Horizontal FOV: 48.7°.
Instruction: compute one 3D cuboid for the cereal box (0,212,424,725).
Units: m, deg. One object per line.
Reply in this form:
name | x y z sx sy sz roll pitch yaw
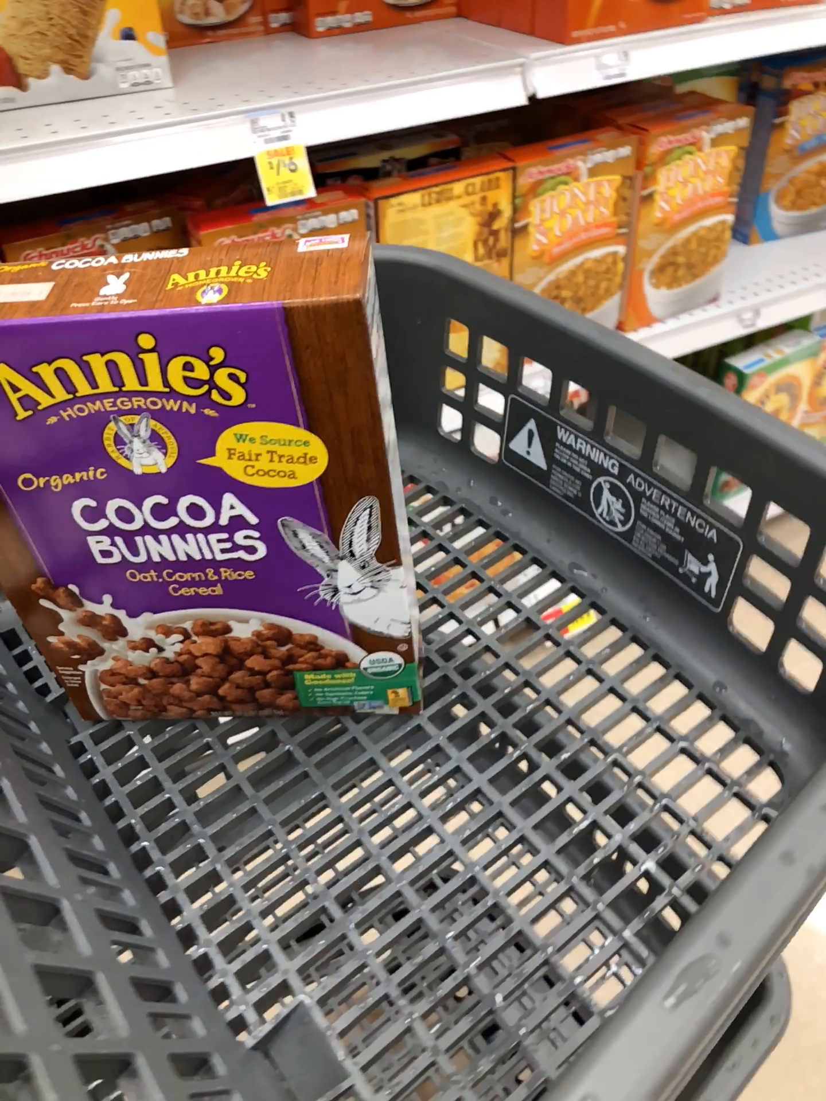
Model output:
cereal box | -0.103 -0.018 0.410 0.200 0.239 0.050 -2 43 4
